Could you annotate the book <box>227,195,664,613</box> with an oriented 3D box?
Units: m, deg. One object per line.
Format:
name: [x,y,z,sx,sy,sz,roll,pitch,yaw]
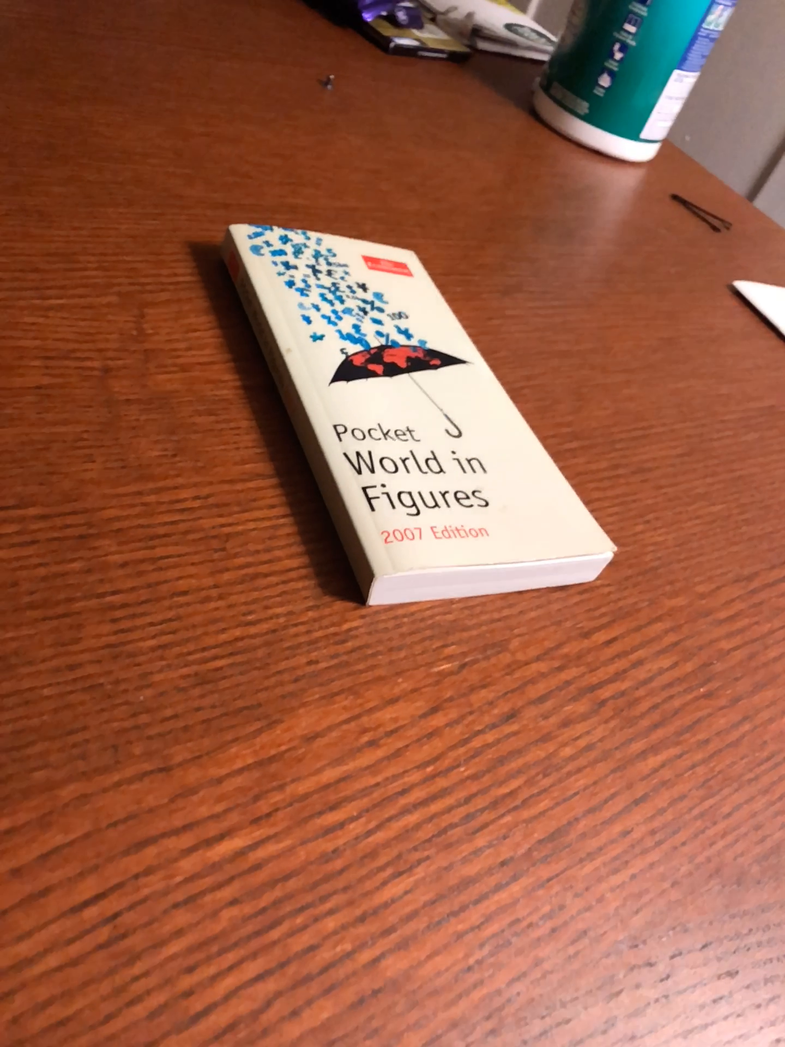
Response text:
book: [0.009,-0.057,0.343,0.100,0.030,0.201,-2,48,-28]
